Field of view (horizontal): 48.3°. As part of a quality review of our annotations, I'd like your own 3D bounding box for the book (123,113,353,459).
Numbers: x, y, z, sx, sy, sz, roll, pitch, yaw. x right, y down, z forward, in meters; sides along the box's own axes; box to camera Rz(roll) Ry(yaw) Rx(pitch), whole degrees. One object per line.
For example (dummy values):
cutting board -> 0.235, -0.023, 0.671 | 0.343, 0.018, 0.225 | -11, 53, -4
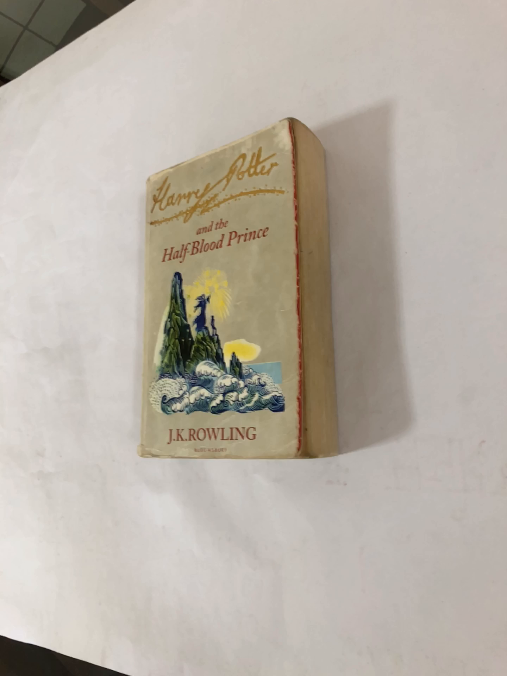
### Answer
book -> -0.015, -0.020, 0.344 | 0.130, 0.050, 0.181 | -9, 78, 35
